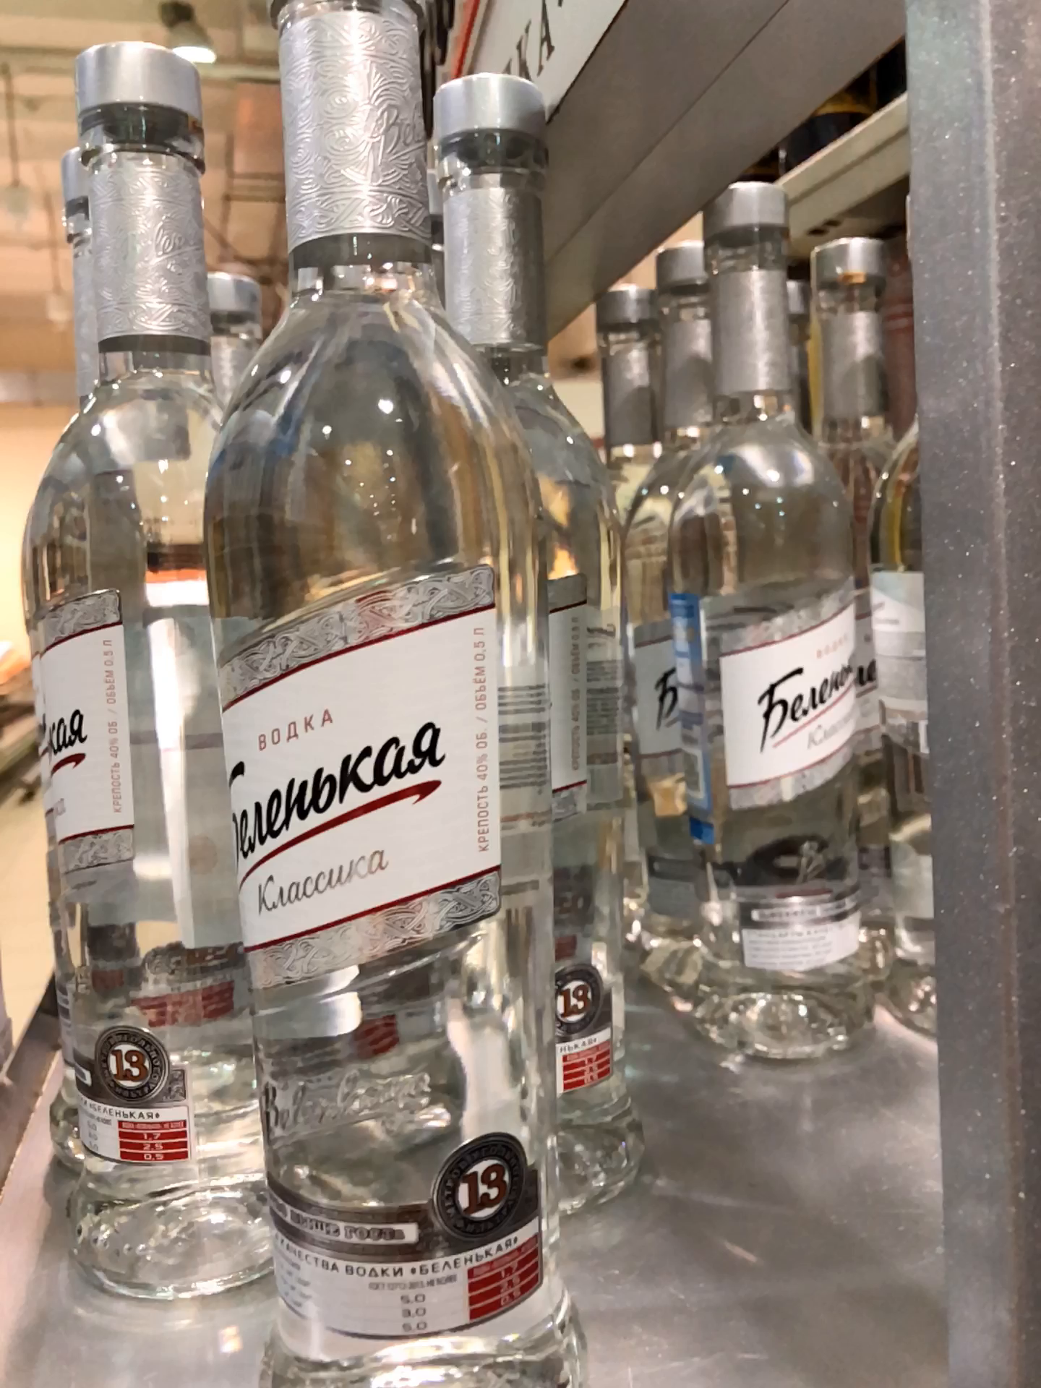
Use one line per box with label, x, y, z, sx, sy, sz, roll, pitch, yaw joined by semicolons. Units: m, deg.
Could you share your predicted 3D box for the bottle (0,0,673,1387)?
bottle;-0.032;-0.015;0.221;0.080;0.310;0.080;-3;3;0
